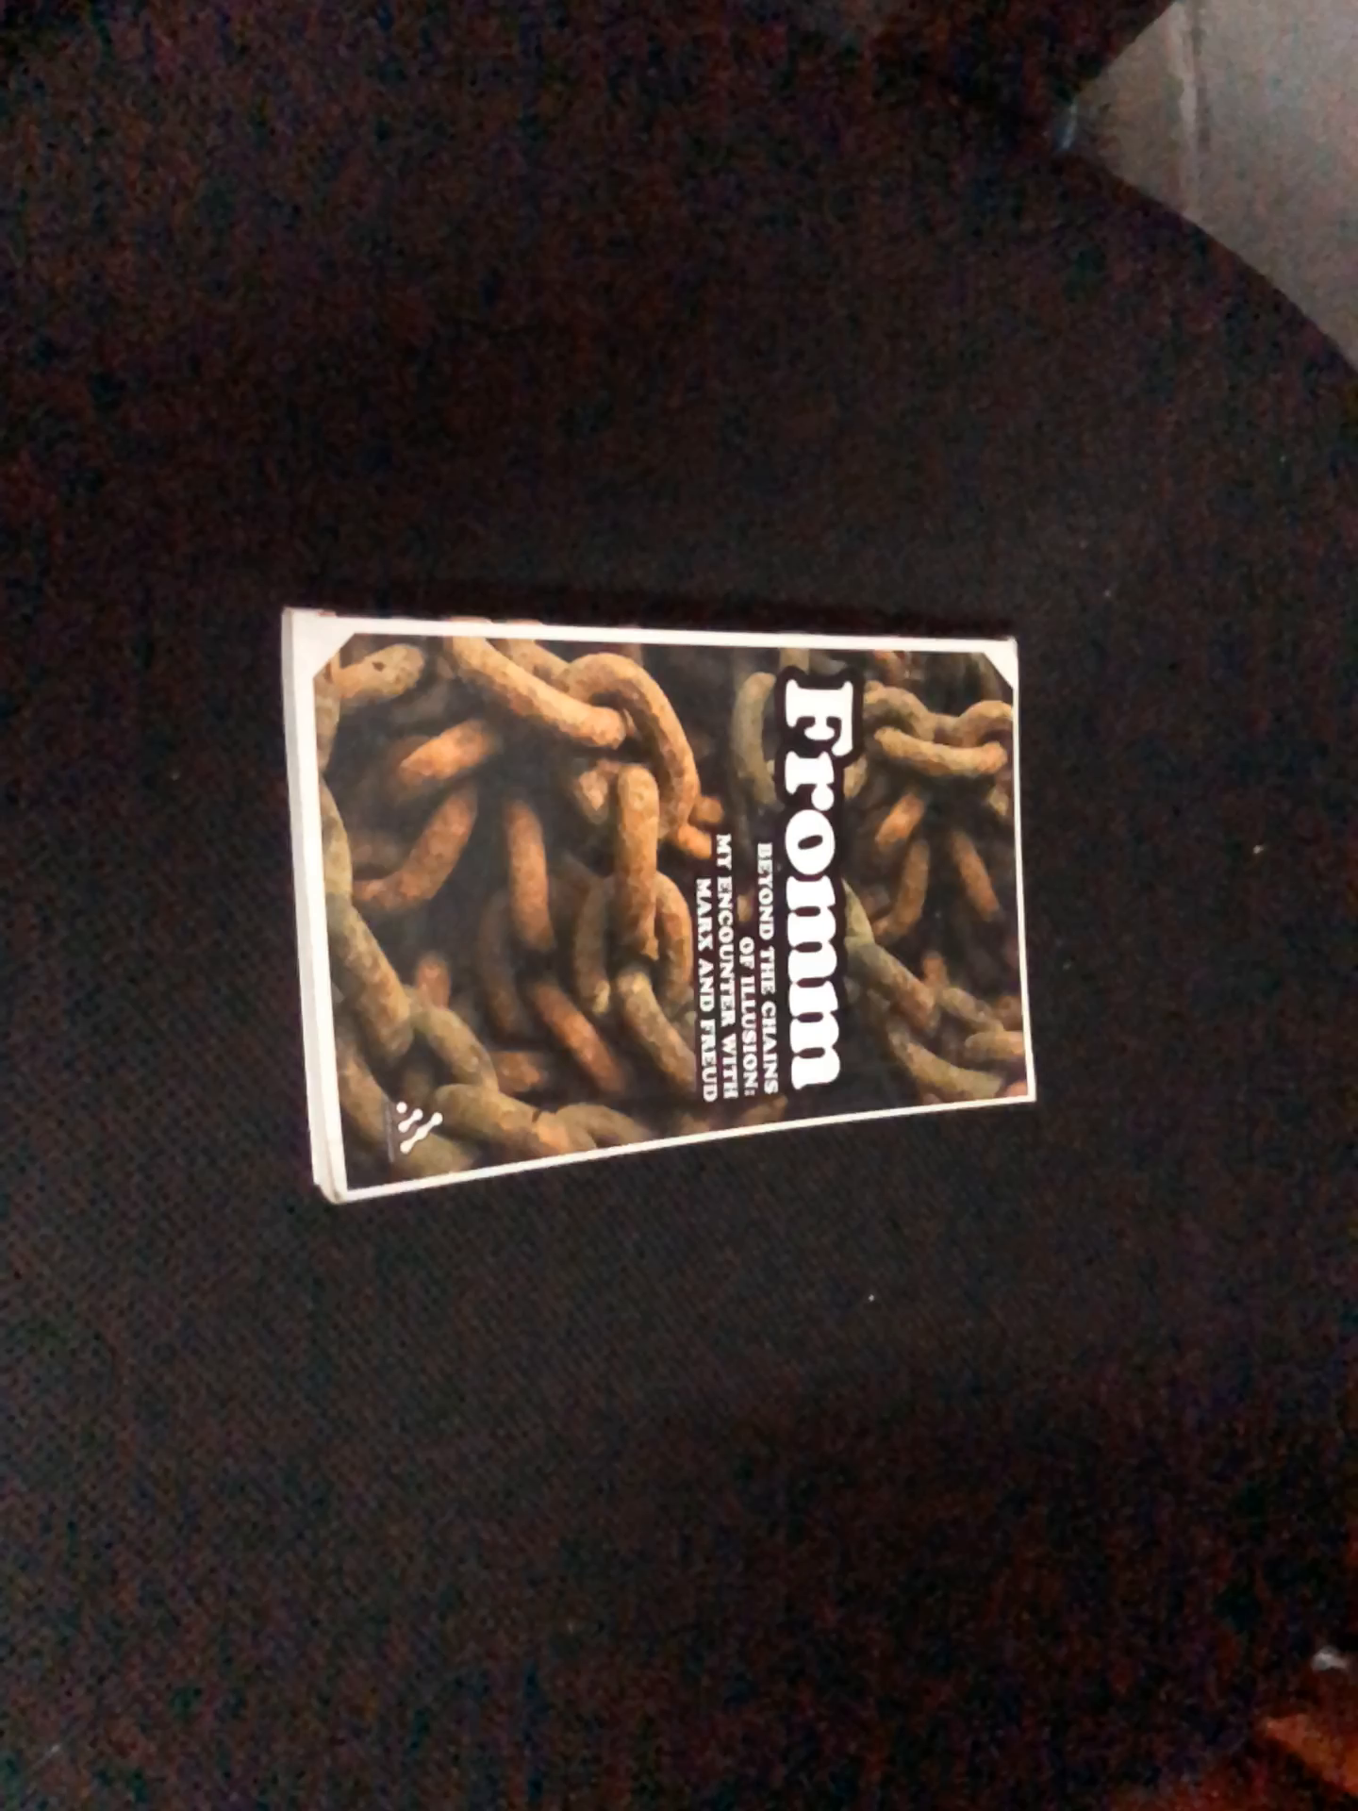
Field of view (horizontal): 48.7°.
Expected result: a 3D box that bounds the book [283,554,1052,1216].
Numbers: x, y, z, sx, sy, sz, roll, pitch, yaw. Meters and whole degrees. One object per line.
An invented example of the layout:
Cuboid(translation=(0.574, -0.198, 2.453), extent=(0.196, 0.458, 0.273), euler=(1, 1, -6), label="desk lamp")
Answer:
Cuboid(translation=(0.005, -0.006, 0.371), extent=(0.195, 0.016, 0.144), euler=(-1, 88, -24), label="book")
